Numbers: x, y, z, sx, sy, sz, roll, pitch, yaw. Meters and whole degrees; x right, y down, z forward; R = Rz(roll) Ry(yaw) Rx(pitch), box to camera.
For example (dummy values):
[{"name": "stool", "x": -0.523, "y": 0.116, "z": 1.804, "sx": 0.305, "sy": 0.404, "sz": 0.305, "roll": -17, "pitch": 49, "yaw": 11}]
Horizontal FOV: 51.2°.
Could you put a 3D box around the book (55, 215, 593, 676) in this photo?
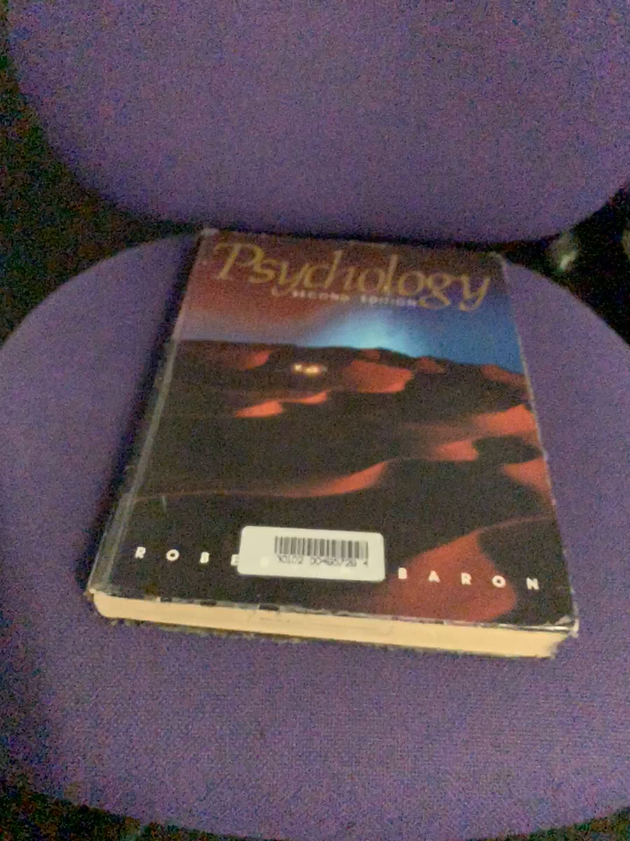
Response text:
[{"name": "book", "x": 0.012, "y": -0.011, "z": 0.385, "sx": 0.230, "sy": 0.040, "sz": 0.282, "roll": 5, "pitch": 51, "yaw": 0}]
